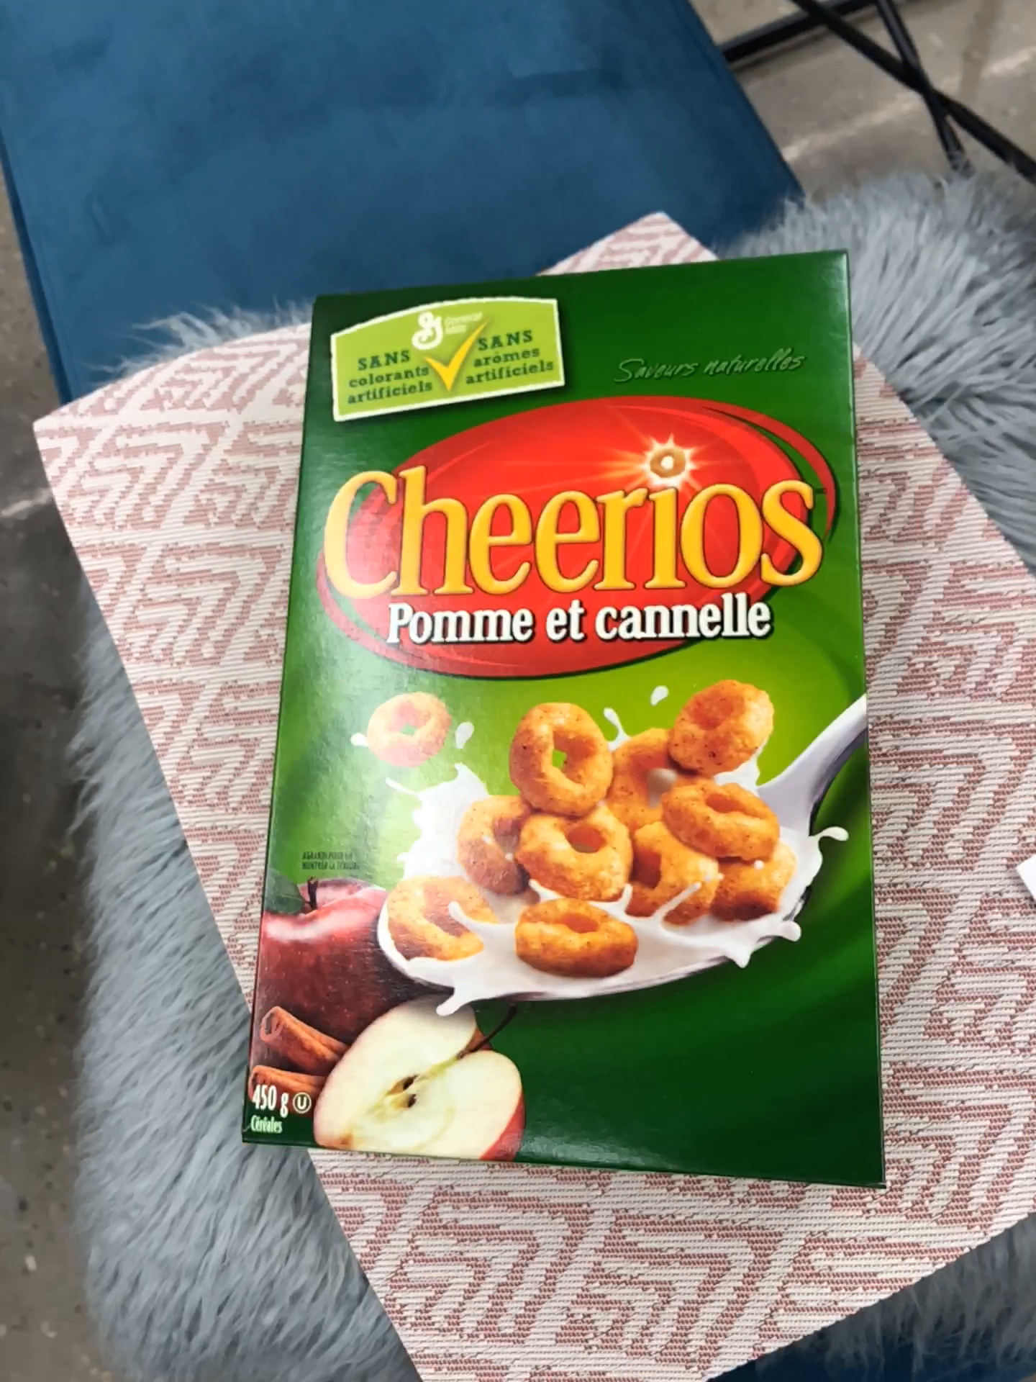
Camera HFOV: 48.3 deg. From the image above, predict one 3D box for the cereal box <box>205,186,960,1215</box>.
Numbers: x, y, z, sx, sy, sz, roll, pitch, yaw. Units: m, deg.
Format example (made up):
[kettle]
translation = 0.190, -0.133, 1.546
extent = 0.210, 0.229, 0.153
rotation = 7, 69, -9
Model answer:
[cereal box]
translation = 0.021, -0.003, 0.389
extent = 0.210, 0.070, 0.310
rotation = -1, 77, 7
